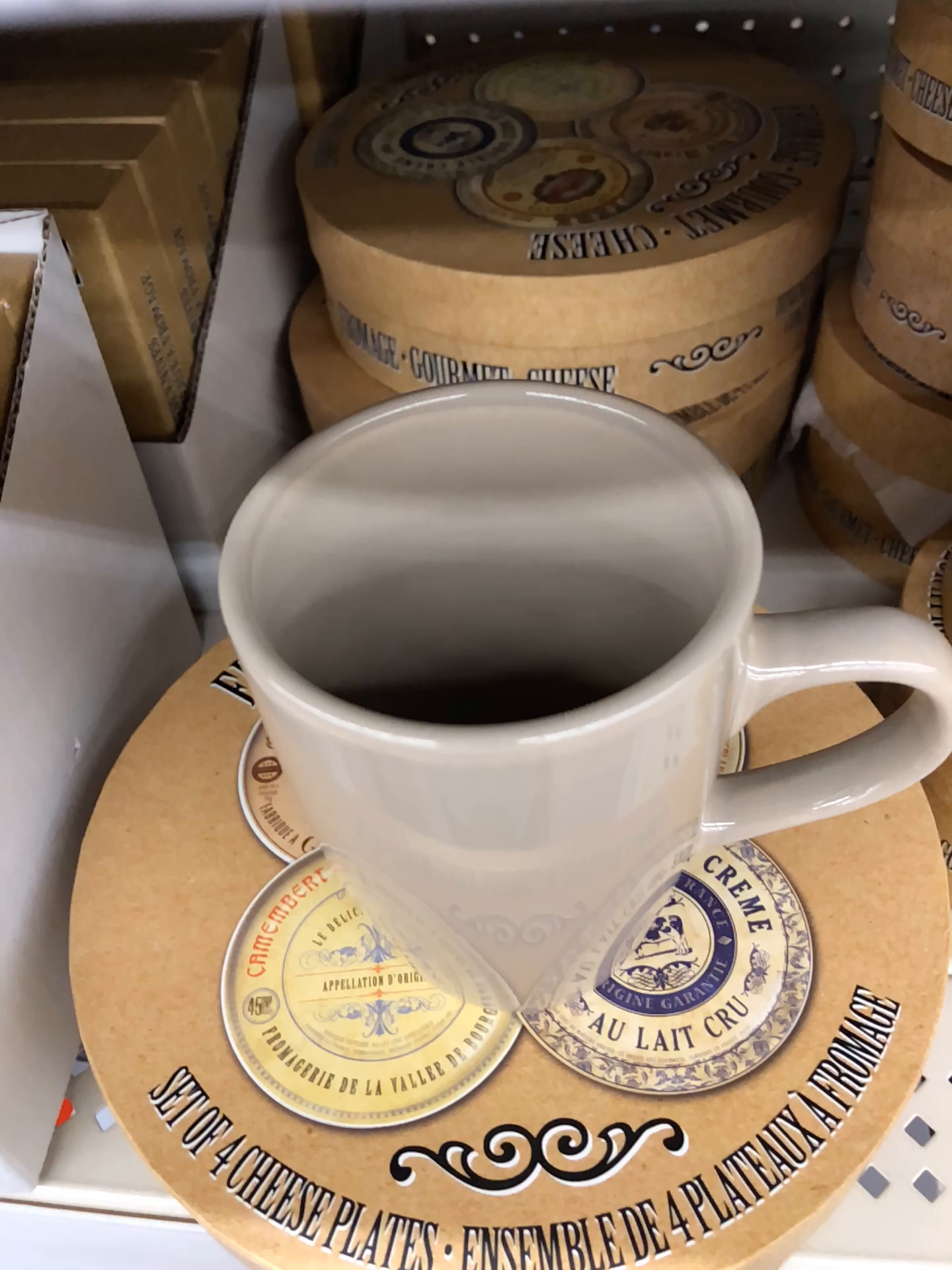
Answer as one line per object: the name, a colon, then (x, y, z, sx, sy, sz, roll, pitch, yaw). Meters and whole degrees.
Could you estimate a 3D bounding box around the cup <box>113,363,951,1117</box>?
cup: (0.025, 0.018, 0.202, 0.130, 0.100, 0.090, 4, 47, 9)
